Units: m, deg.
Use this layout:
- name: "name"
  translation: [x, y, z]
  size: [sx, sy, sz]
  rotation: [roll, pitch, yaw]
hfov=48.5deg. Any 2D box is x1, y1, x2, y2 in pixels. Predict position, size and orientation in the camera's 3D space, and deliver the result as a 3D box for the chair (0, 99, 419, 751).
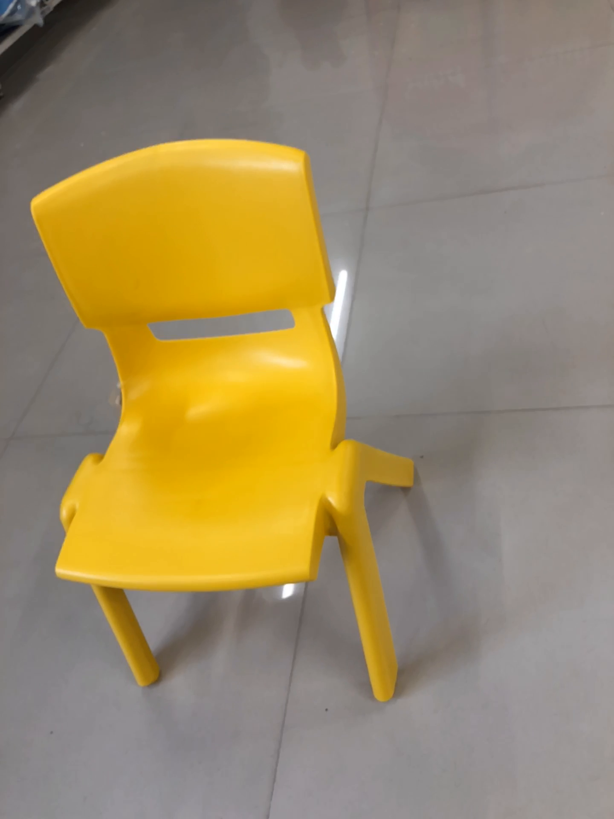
- name: "chair"
  translation: [-0.099, 0.022, 0.676]
  size: [0.360, 0.398, 0.453]
  rotation: [-4, 47, 15]
